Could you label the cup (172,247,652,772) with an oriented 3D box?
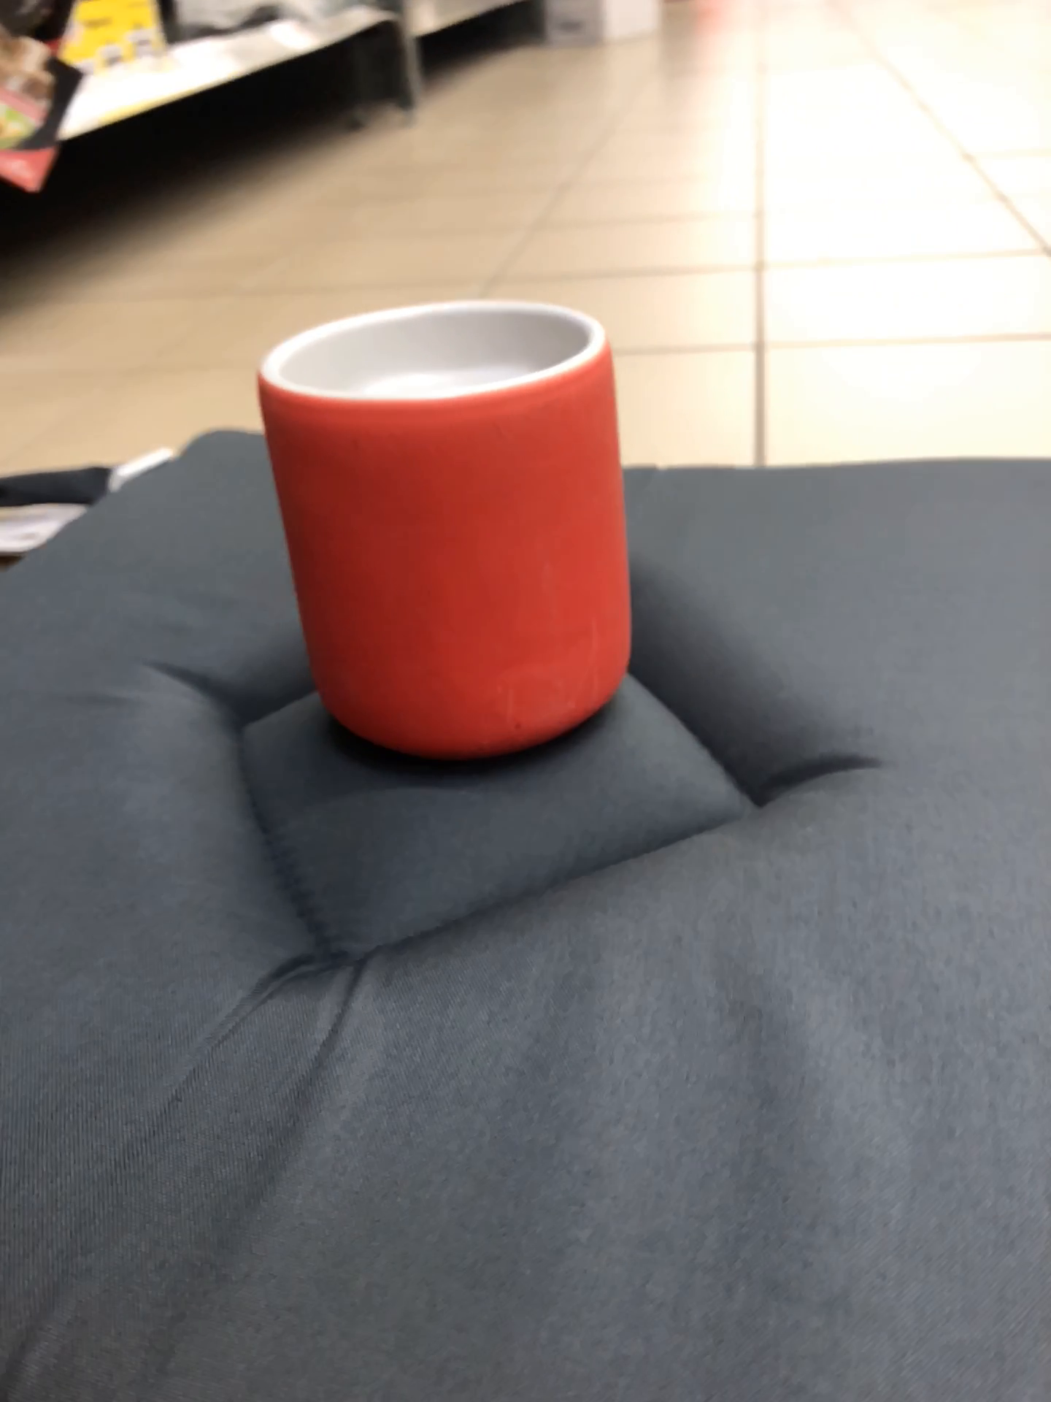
[{"bbox_3d":[-0.015,-0.054,0.303,0.090,0.089,0.121,-1,32,8],"label":"cup"}]
